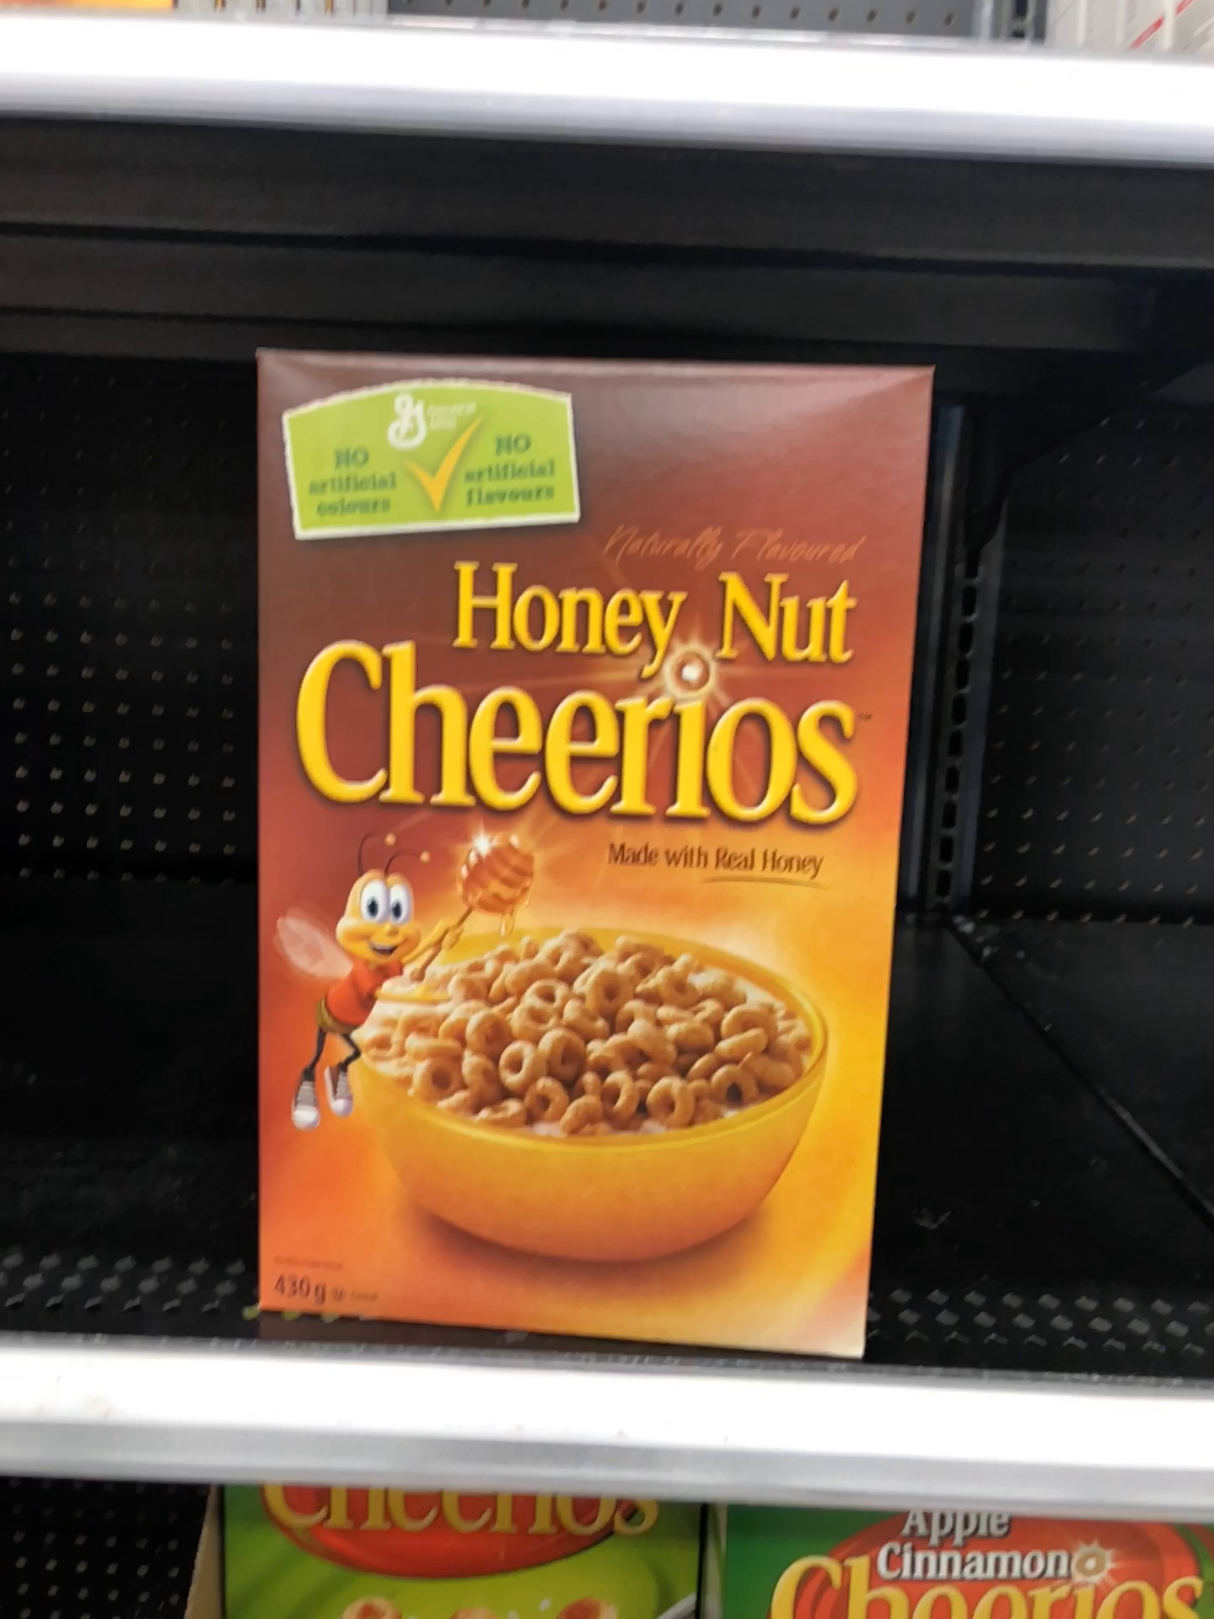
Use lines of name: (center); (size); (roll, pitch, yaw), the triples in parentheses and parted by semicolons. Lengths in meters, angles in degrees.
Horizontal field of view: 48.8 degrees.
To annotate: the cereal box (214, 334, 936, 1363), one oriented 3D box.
cereal box: (-0.013, 0.012, 0.428); (0.200, 0.299, 0.070); (3, 10, 4)
